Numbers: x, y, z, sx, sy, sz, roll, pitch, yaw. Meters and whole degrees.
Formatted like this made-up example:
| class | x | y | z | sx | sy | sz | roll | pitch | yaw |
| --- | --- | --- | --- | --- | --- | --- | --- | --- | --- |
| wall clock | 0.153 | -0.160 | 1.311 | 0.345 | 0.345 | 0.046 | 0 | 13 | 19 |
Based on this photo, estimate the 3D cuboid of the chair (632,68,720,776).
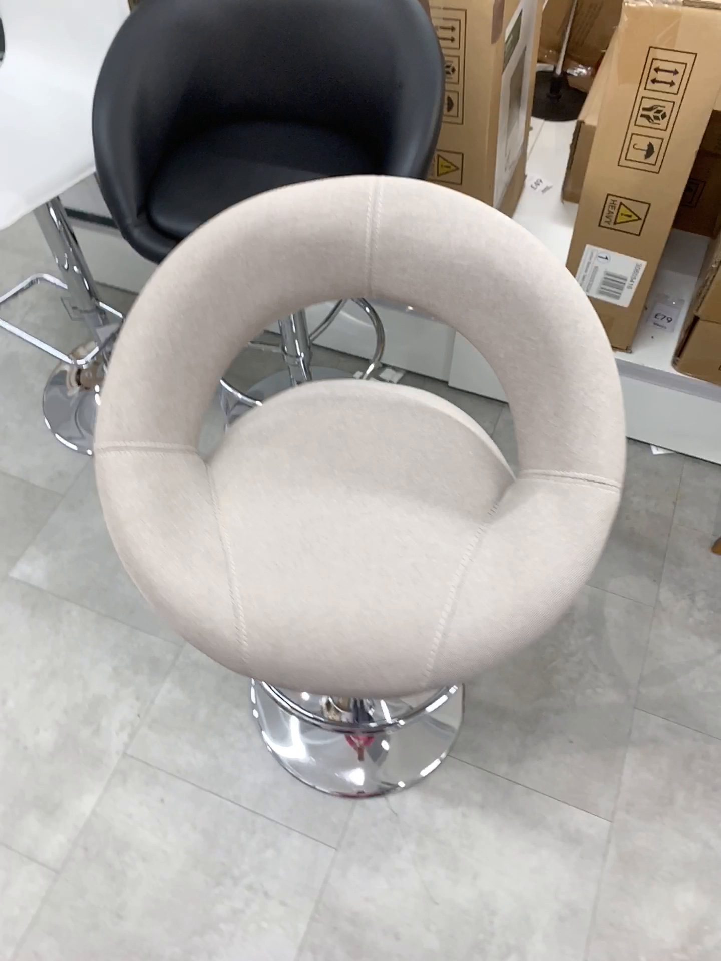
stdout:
| class | x | y | z | sx | sy | sz | roll | pitch | yaw |
| --- | --- | --- | --- | --- | --- | --- | --- | --- | --- |
| chair | 0.905 | -0.016 | 1.161 | 0.517 | 0.865 | 0.545 | 30 | 63 | 19 |

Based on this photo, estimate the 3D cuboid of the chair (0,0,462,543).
| class | x | y | z | sx | sy | sz | roll | pitch | yaw |
| --- | --- | --- | --- | --- | --- | --- | --- | --- | --- |
| chair | -0.146 | -0.362 | 1.404 | 0.516 | 0.935 | 0.486 | 11 | 58 | 9 |

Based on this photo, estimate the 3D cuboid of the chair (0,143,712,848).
| class | x | y | z | sx | sy | sz | roll | pitch | yaw |
| --- | --- | --- | --- | --- | --- | --- | --- | --- | --- |
| chair | 0.001 | 0.137 | 1.037 | 0.566 | 0.965 | 0.486 | 8 | 58 | 7 |
